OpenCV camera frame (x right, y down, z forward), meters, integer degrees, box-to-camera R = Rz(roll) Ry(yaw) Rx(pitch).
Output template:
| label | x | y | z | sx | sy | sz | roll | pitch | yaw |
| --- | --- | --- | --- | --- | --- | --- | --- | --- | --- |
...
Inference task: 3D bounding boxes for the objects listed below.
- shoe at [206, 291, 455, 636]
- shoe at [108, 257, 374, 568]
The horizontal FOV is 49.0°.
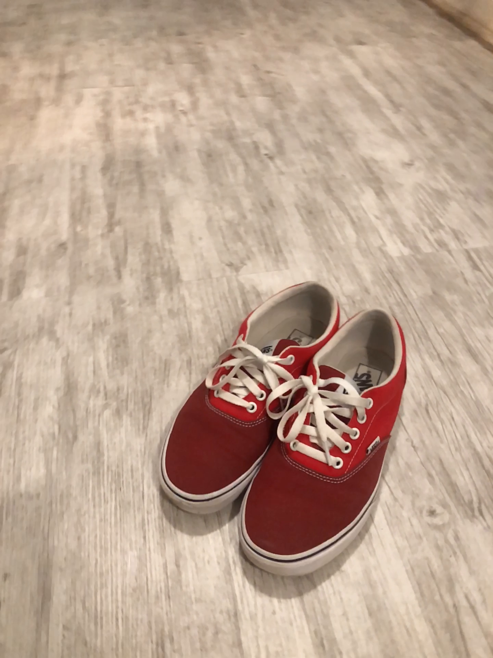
| label | x | y | z | sx | sy | sz | roll | pitch | yaw |
| --- | --- | --- | --- | --- | --- | --- | --- | --- | --- |
| shoe | 0.083 | 0.096 | 0.473 | 0.110 | 0.088 | 0.266 | 21 | 49 | 19 |
| shoe | 0.010 | 0.059 | 0.512 | 0.110 | 0.093 | 0.272 | 24 | 50 | 21 |
